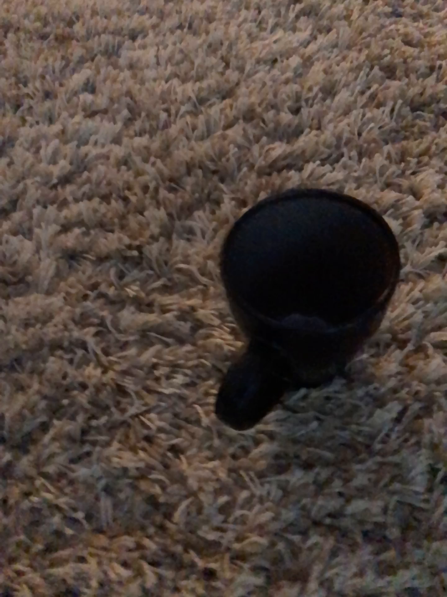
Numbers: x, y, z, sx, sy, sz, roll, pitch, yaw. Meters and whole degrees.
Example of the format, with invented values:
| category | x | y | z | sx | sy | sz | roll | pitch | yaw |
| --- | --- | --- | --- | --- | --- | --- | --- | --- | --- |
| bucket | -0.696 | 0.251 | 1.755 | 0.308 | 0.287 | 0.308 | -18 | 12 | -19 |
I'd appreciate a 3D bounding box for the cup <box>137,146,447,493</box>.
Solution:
| category | x | y | z | sx | sy | sz | roll | pitch | yaw |
| --- | --- | --- | --- | --- | --- | --- | --- | --- | --- |
| cup | 0.043 | 0.007 | 0.269 | 0.090 | 0.090 | 0.140 | 28 | 62 | 23 |
